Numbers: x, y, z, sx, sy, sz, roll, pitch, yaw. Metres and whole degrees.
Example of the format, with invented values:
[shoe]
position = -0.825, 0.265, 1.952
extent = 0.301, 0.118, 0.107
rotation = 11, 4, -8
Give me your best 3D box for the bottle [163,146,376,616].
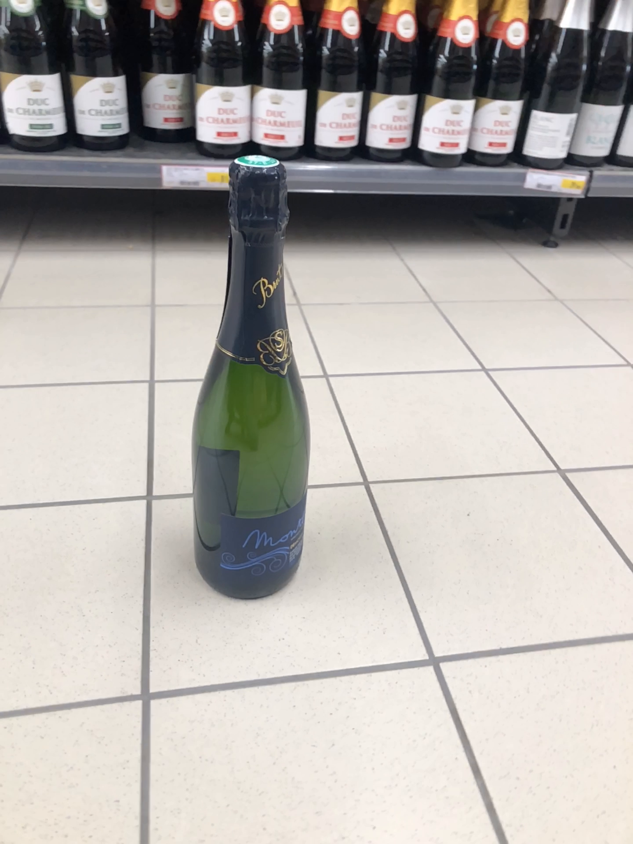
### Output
[bottle]
position = -0.036, -0.019, 0.492
extent = 0.090, 0.308, 0.091
rotation = 4, 33, -2
